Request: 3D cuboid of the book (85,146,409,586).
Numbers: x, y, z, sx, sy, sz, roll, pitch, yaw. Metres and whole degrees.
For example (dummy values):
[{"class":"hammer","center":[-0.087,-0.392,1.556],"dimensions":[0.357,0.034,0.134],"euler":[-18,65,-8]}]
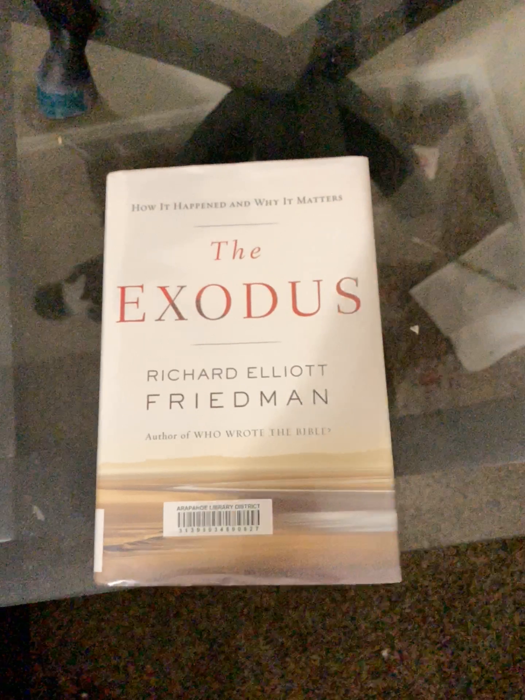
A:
[{"class":"book","center":[-0.010,0.004,0.303],"dimensions":[0.160,0.030,0.231],"euler":[-1,80,2]}]
